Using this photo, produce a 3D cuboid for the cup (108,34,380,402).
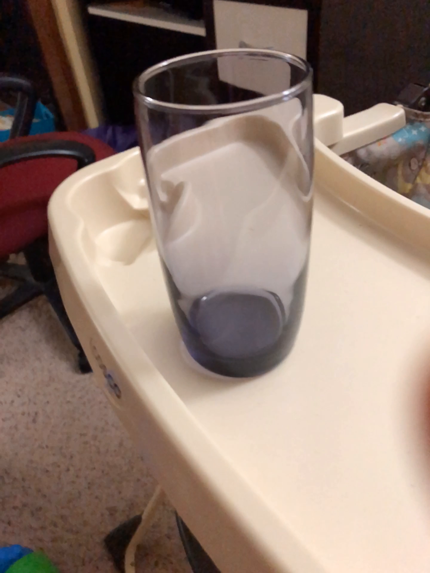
[{"bbox_3d":[0.010,-0.029,0.225,0.084,0.134,0.084,-4,40,4],"label":"cup"}]
